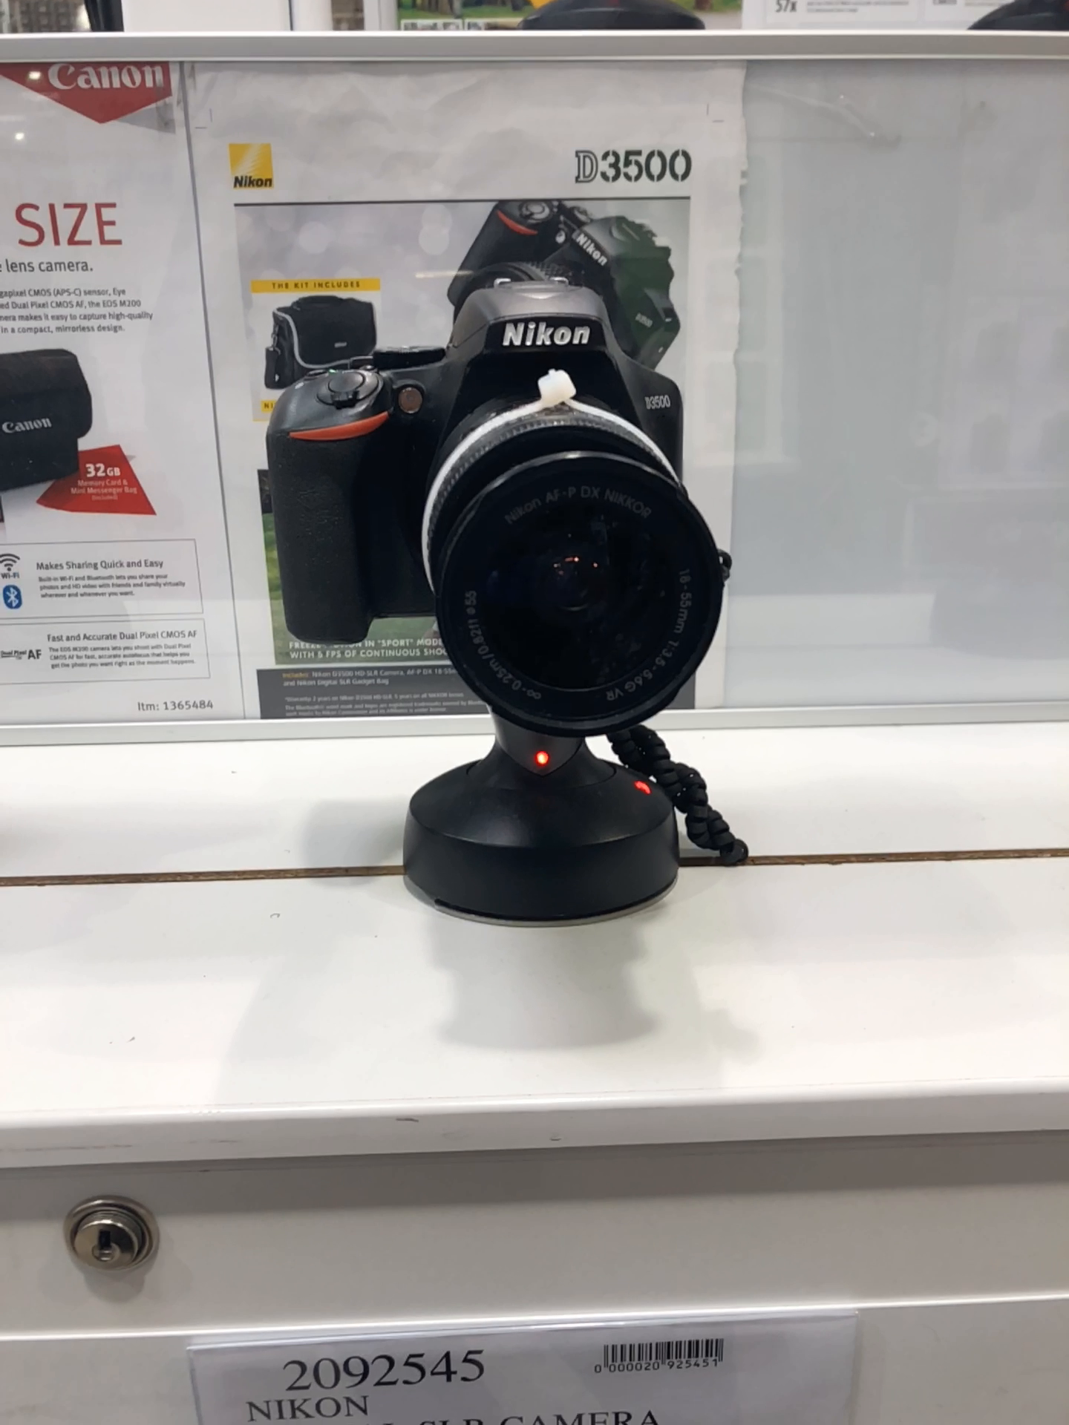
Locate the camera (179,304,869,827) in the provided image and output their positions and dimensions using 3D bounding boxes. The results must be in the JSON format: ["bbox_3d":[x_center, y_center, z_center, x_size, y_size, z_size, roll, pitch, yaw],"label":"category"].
[{"bbox_3d":[-0.009,-0.060,0.347,0.140,0.110,0.191,-3,19,-5],"label":"camera"}]
